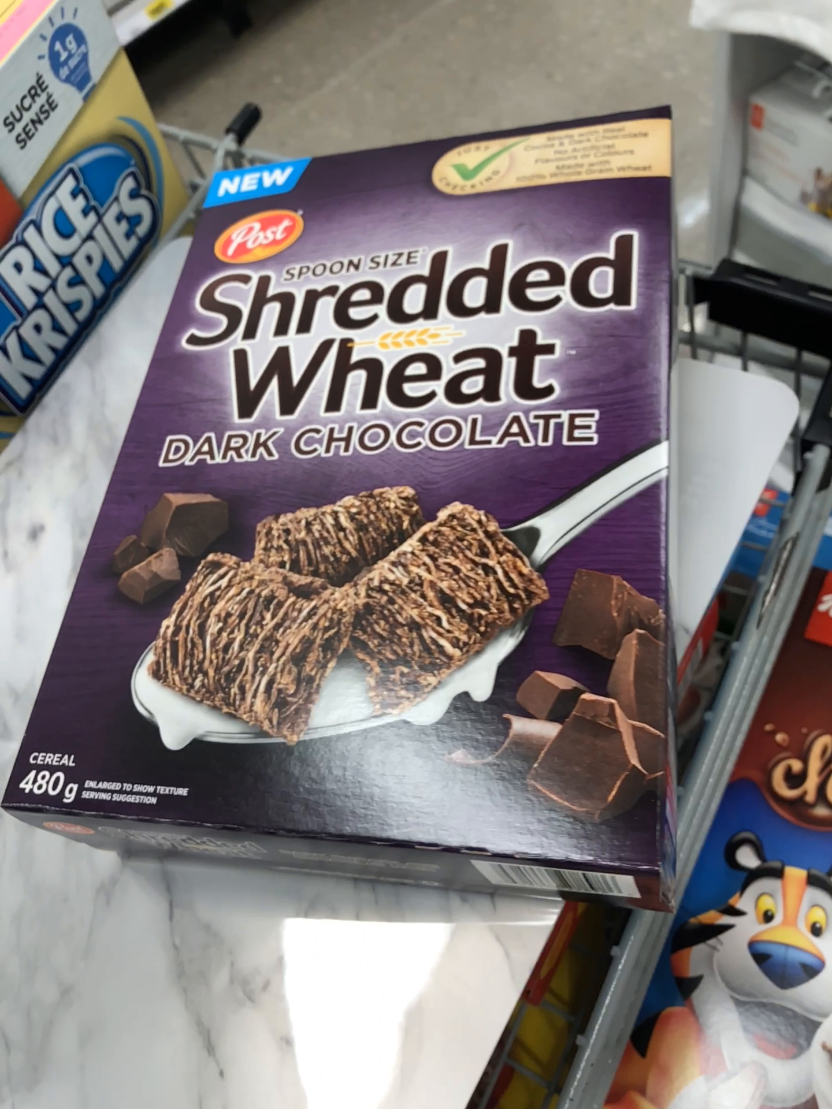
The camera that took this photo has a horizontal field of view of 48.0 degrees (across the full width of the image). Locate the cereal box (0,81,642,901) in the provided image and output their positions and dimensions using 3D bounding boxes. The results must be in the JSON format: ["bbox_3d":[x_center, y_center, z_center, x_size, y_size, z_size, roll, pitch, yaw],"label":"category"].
[{"bbox_3d":[-0.018,-0.038,0.352,0.190,0.070,0.290,1,63,16],"label":"cereal box"}]
